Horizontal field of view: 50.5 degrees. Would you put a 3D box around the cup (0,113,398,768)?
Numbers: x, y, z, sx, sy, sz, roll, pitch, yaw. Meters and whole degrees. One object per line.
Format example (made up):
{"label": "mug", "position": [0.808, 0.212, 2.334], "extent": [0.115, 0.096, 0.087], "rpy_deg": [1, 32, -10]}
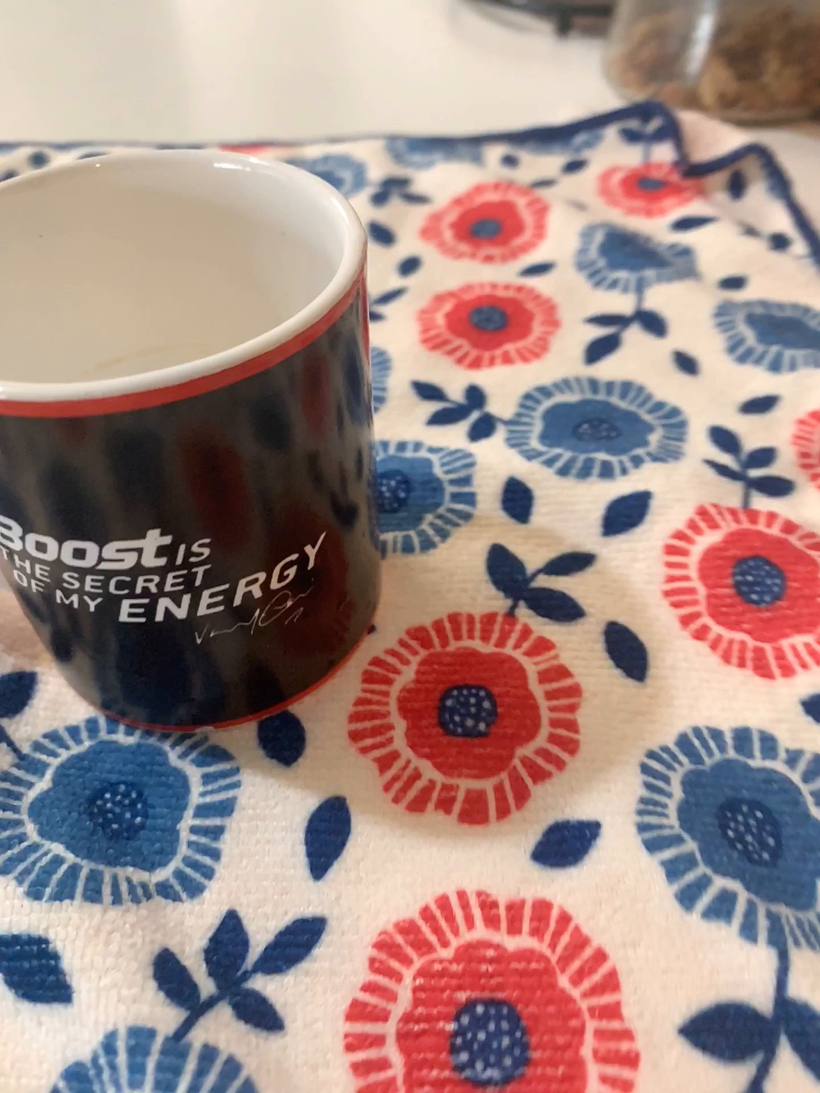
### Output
{"label": "cup", "position": [-0.060, -0.019, 0.167], "extent": [0.110, 0.089, 0.081], "rpy_deg": [-3, 46, -1]}
